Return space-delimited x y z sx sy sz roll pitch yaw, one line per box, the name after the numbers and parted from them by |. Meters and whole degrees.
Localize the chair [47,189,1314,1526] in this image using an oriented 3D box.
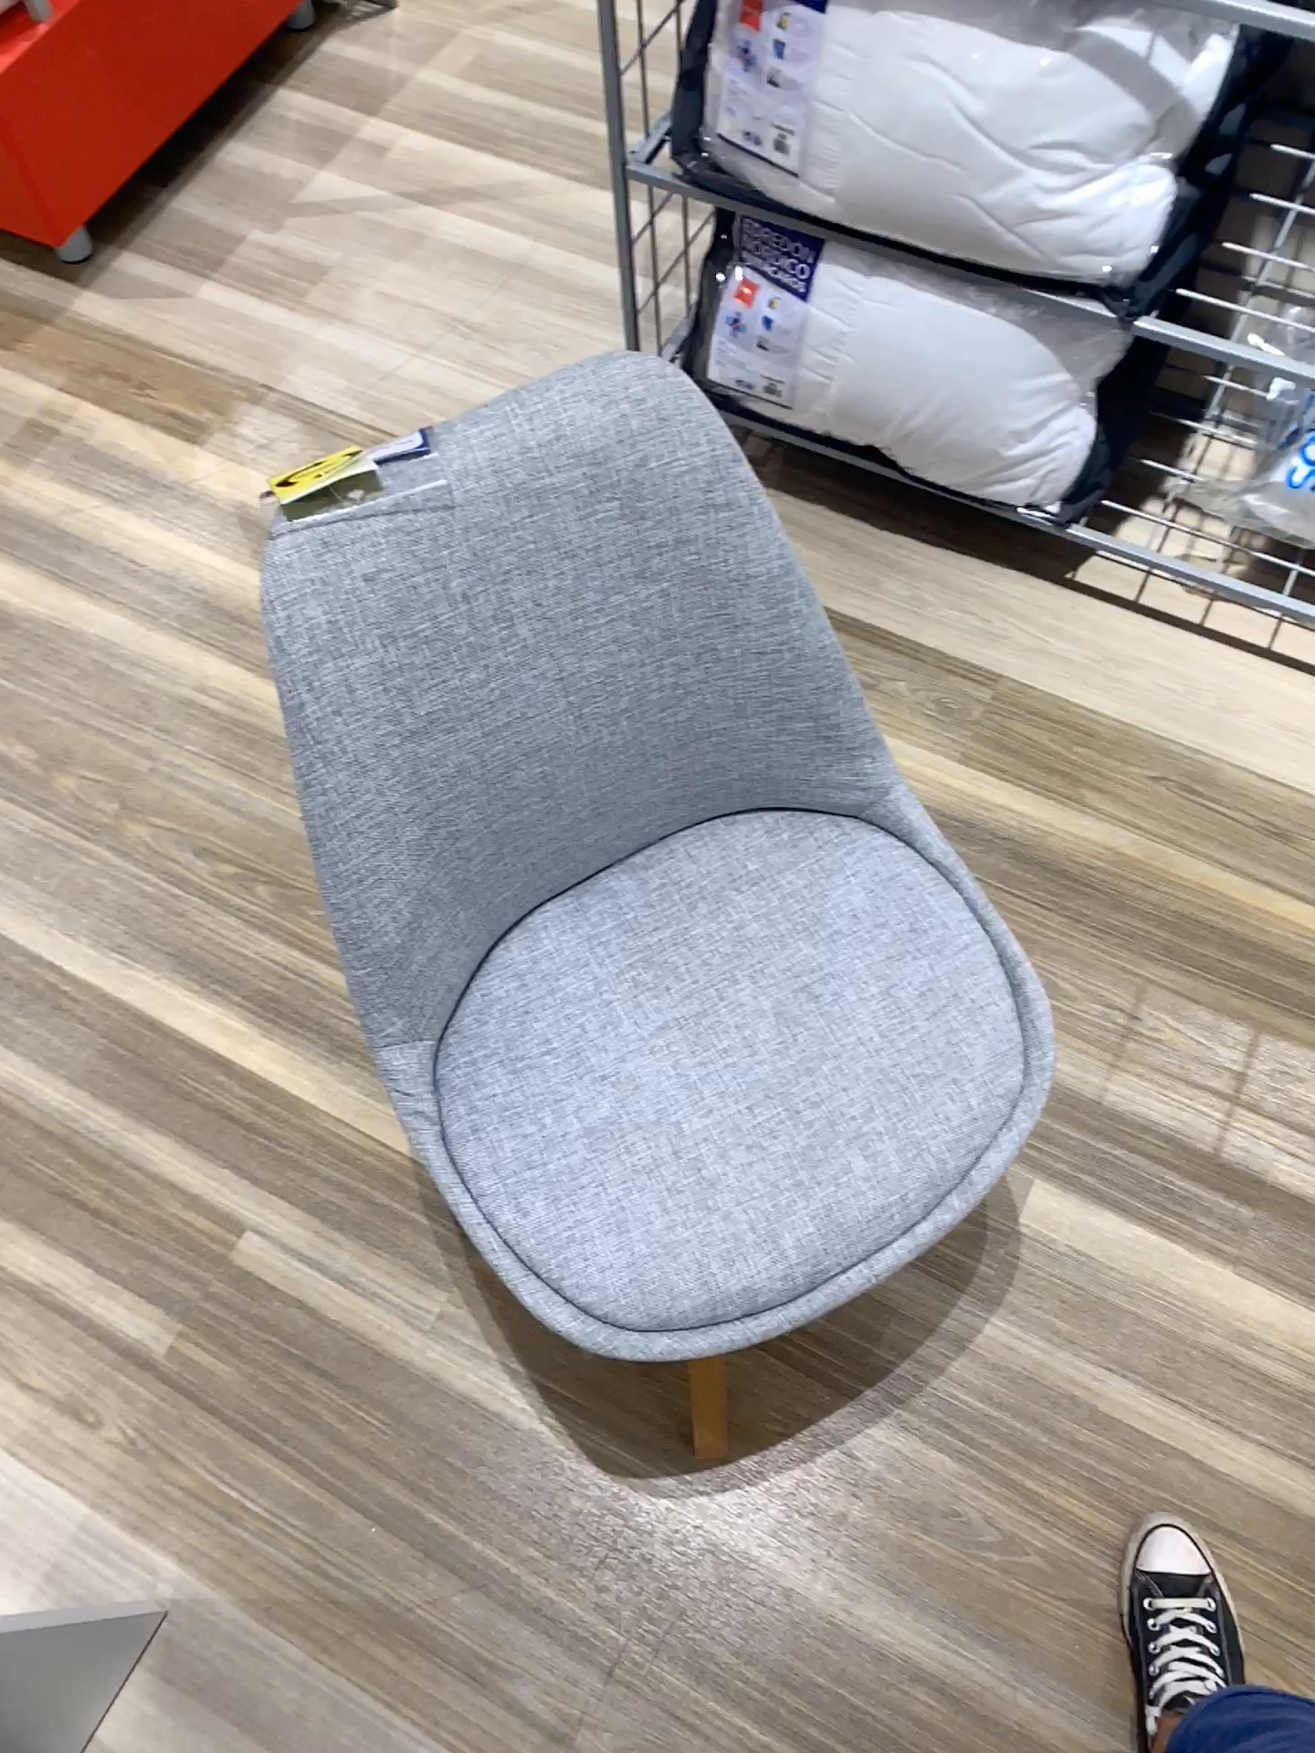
0.052 0.099 1.028 0.513 0.858 0.516 -28 65 -11 | chair
